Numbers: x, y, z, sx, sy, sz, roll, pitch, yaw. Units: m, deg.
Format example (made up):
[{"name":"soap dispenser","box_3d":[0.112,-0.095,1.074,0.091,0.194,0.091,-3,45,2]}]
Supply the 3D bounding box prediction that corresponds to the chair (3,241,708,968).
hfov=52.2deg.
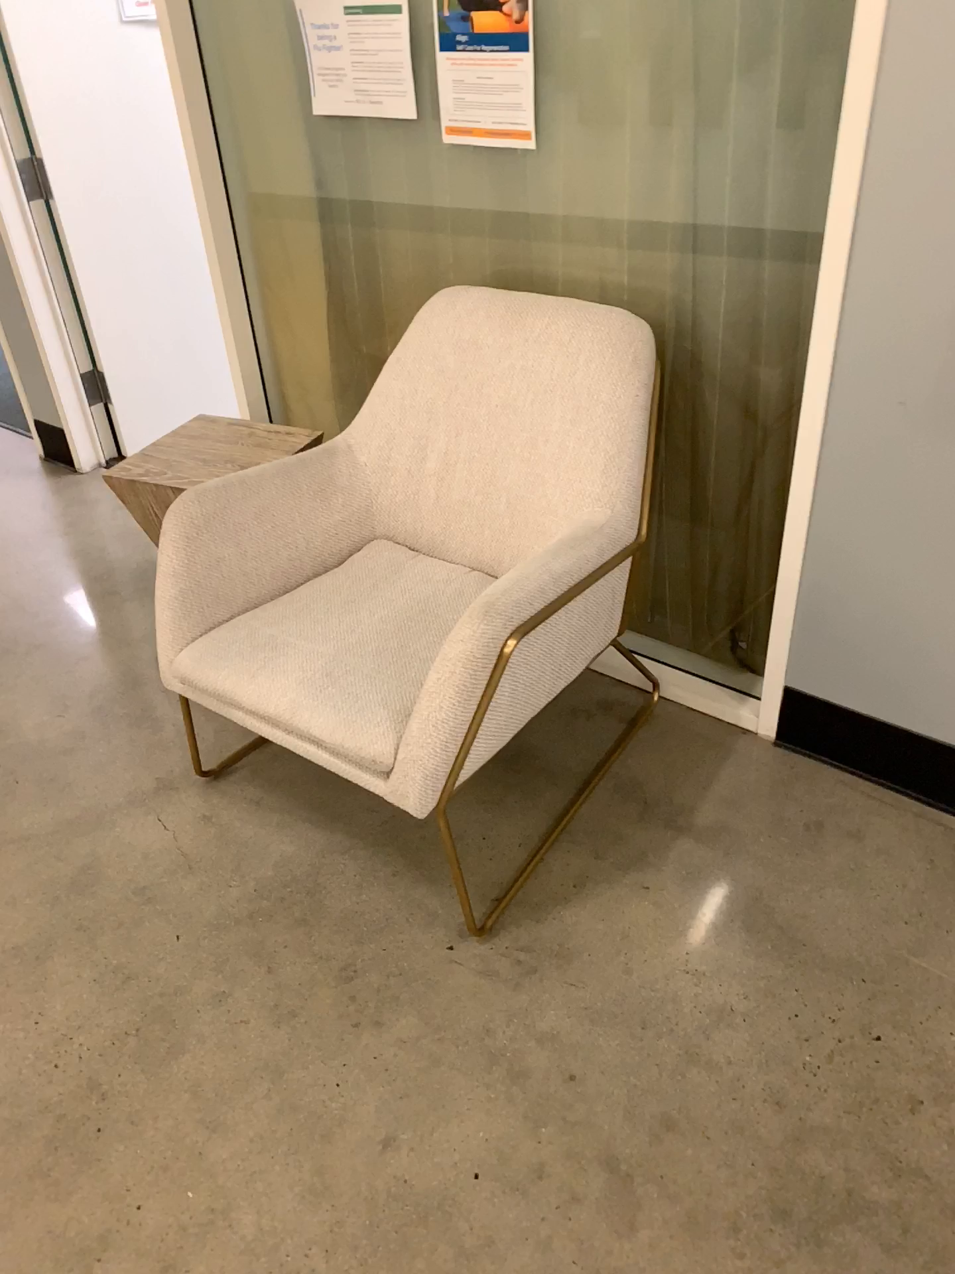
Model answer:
[{"name":"chair","box_3d":[-0.144,-0.133,1.759,0.783,0.865,0.772,19,41,29]}]
